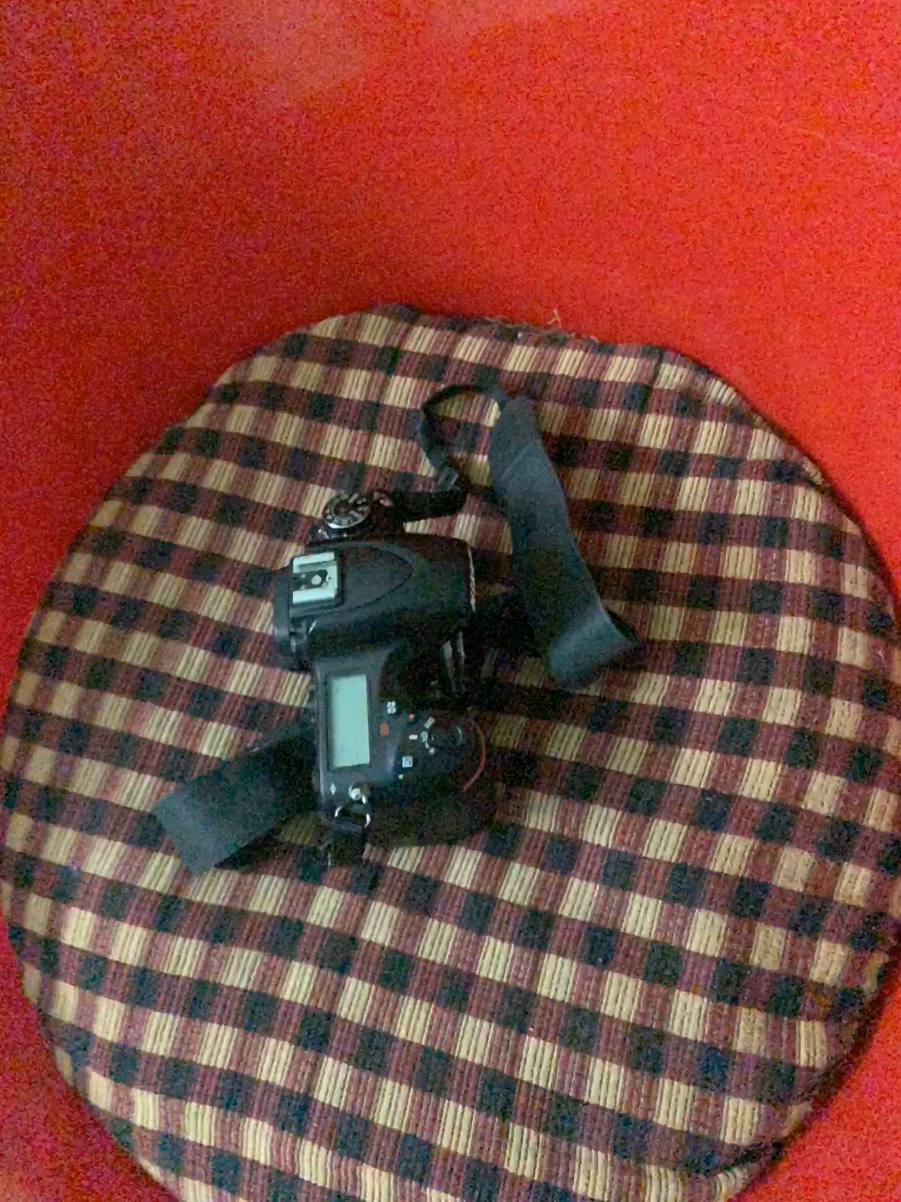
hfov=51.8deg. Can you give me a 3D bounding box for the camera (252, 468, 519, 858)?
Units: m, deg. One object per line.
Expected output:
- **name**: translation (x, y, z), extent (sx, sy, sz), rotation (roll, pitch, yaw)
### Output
- **camera**: translation (-0.019, 0.030, 0.378), extent (0.080, 0.090, 0.140), rotation (-1, 74, 12)
